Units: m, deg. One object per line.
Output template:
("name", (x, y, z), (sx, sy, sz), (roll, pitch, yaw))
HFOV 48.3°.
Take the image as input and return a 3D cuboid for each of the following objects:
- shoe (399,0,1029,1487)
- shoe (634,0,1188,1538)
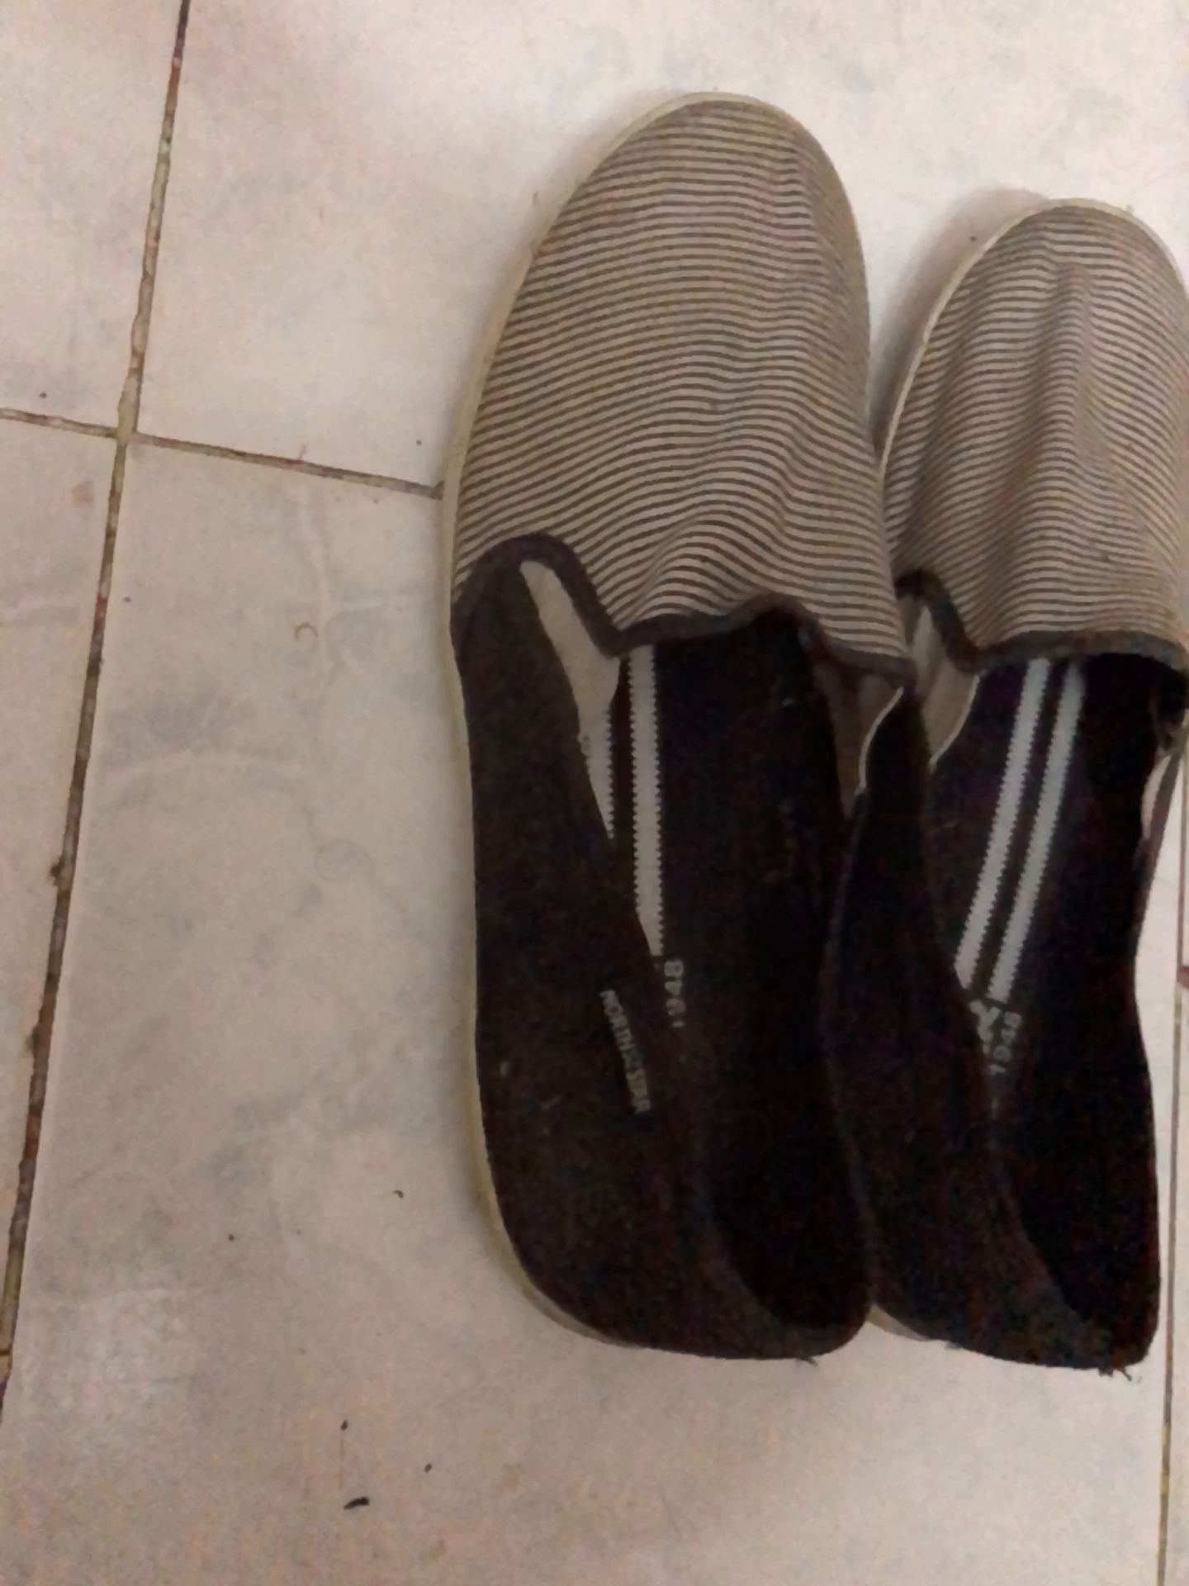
("shoe", (0.027, -0.034, 0.310), (0.110, 0.090, 0.330), (5, 82, -18))
("shoe", (0.106, -0.019, 0.328), (0.110, 0.090, 0.340), (14, 79, -17))
